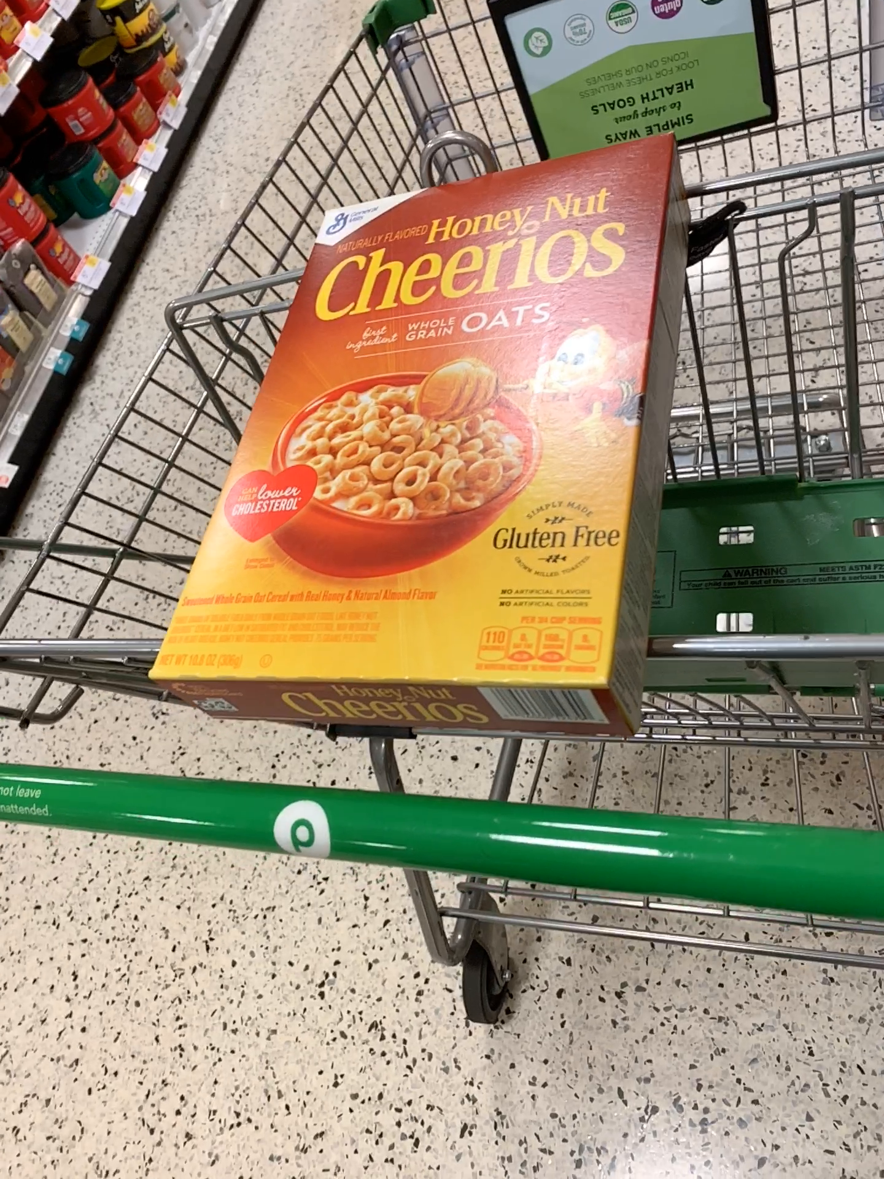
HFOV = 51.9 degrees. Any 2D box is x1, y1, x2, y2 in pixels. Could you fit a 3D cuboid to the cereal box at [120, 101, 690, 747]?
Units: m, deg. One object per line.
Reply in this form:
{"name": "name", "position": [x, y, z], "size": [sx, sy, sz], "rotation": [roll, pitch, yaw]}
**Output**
{"name": "cereal box", "position": [-0.002, -0.082, 0.418], "size": [0.200, 0.060, 0.292], "rotation": [-2, 60, 25]}
